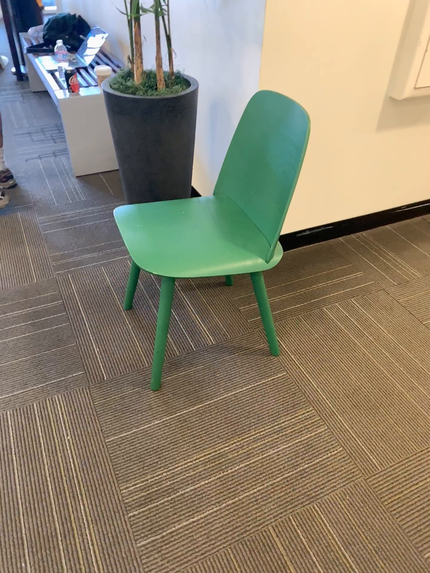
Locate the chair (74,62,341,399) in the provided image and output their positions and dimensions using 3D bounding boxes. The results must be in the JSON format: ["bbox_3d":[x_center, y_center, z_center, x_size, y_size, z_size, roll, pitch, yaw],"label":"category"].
[{"bbox_3d":[-0.060,-0.174,1.324,0.500,0.785,0.503,-14,42,-19],"label":"chair"}]
